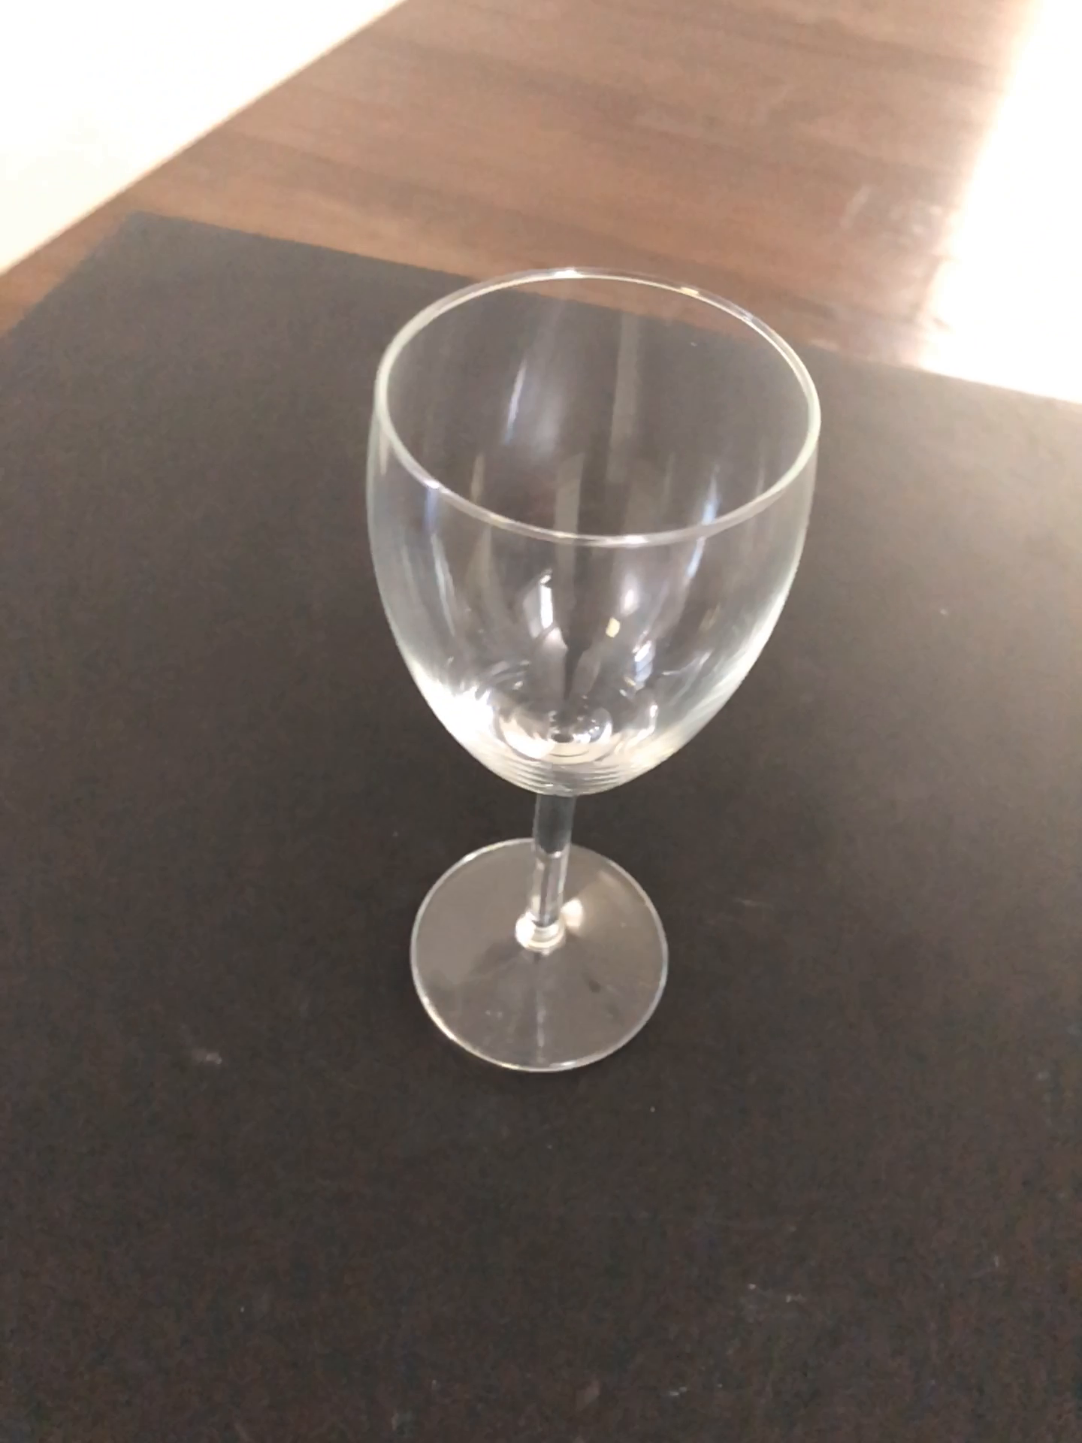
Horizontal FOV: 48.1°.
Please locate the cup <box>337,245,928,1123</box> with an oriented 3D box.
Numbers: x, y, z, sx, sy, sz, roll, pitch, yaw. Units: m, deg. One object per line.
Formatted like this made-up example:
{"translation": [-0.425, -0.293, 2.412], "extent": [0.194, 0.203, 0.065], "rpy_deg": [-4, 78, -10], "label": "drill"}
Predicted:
{"translation": [0.011, 0.007, 0.258], "extent": [0.080, 0.179, 0.081], "rpy_deg": [2, 50, -2], "label": "cup"}
